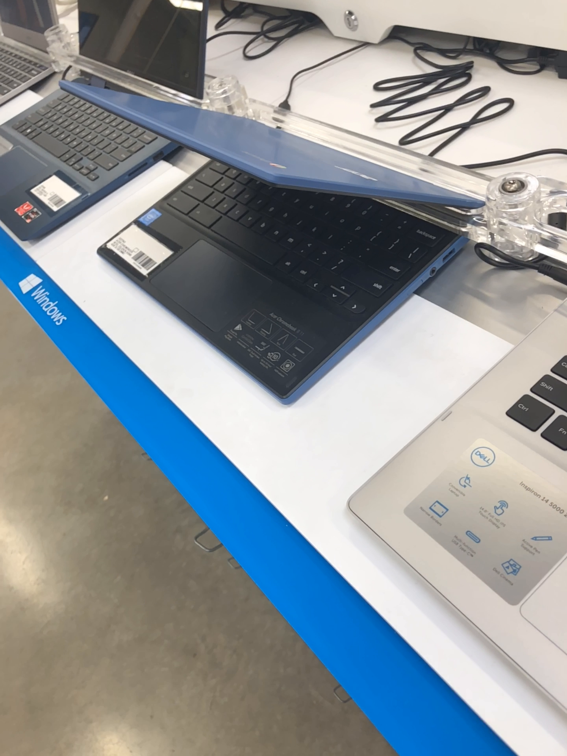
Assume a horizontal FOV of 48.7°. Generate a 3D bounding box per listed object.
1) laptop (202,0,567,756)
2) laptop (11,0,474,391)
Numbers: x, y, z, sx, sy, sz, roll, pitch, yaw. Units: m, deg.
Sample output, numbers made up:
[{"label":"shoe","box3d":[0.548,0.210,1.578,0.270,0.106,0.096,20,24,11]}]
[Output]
[{"label":"laptop","box3d":[0.201,0.009,0.162,0.245,0.216,0.356,-40,48,-12]},{"label":"laptop","box3d":[-0.039,-0.157,0.463,0.184,0.128,0.281,-42,49,-13]}]
